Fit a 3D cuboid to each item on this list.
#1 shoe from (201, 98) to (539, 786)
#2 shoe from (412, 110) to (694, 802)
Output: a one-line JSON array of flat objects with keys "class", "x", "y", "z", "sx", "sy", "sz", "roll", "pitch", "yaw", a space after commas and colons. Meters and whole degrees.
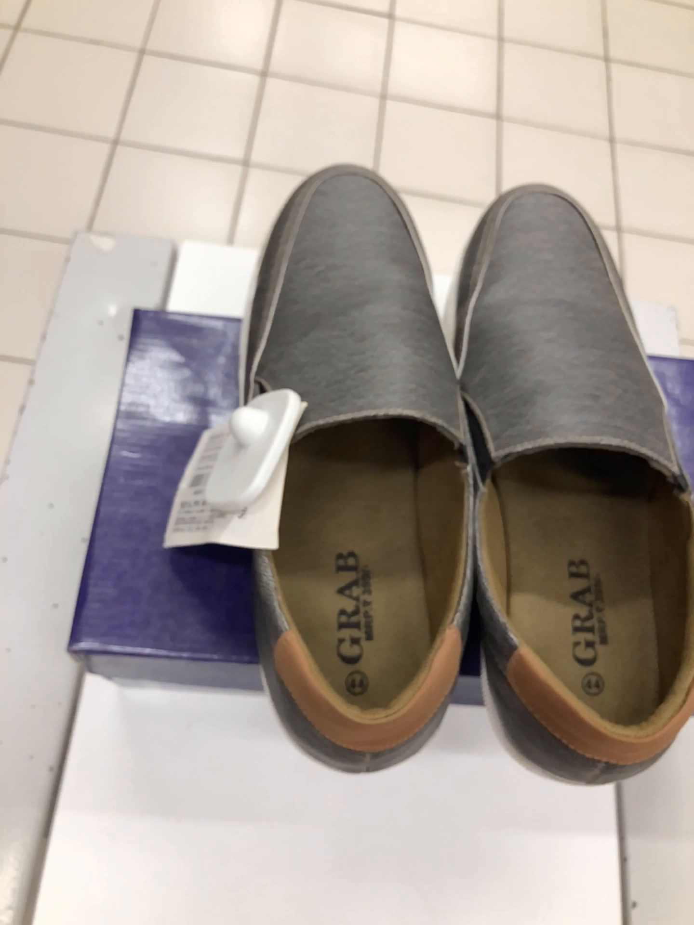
[{"class": "shoe", "x": 0.001, "y": -0.012, "z": 0.330, "sx": 0.100, "sy": 0.100, "sz": 0.271, "roll": 2, "pitch": 65, "yaw": -6}, {"class": "shoe", "x": 0.098, "y": -0.006, "z": 0.384, "sx": 0.100, "sy": 0.120, "sz": 0.311, "roll": 6, "pitch": 65, "yaw": -4}]
